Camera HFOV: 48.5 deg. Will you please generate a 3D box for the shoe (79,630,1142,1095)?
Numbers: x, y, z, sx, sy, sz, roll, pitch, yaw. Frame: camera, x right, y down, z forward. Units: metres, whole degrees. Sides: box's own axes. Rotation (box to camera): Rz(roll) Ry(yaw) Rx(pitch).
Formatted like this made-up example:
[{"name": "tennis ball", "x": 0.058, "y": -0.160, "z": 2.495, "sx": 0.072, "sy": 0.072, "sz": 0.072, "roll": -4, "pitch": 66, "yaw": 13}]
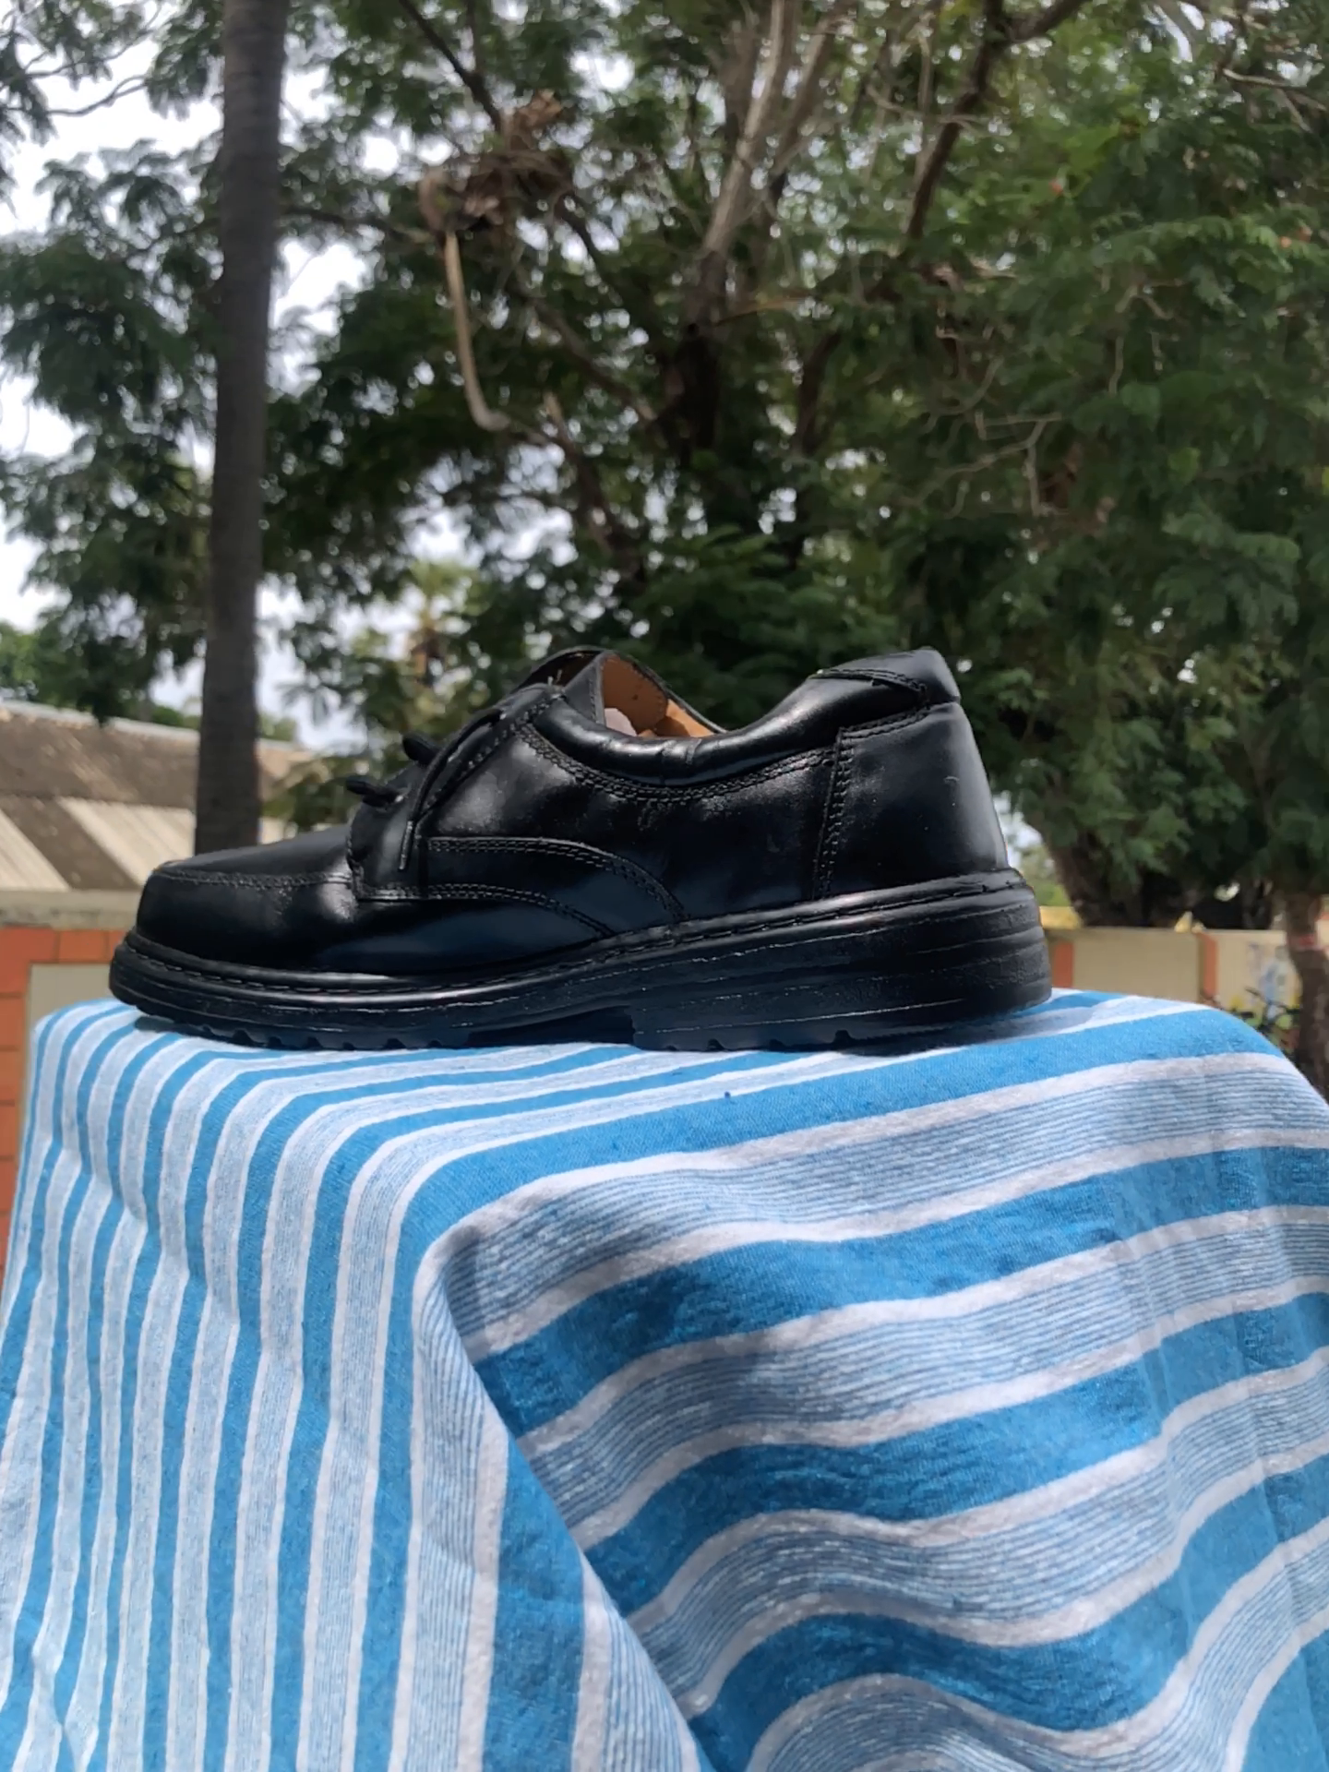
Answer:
[{"name": "shoe", "x": -0.021, "y": -0.011, "z": 0.429, "sx": 0.290, "sy": 0.100, "sz": 0.110, "roll": 2, "pitch": 3, "yaw": 26}]
